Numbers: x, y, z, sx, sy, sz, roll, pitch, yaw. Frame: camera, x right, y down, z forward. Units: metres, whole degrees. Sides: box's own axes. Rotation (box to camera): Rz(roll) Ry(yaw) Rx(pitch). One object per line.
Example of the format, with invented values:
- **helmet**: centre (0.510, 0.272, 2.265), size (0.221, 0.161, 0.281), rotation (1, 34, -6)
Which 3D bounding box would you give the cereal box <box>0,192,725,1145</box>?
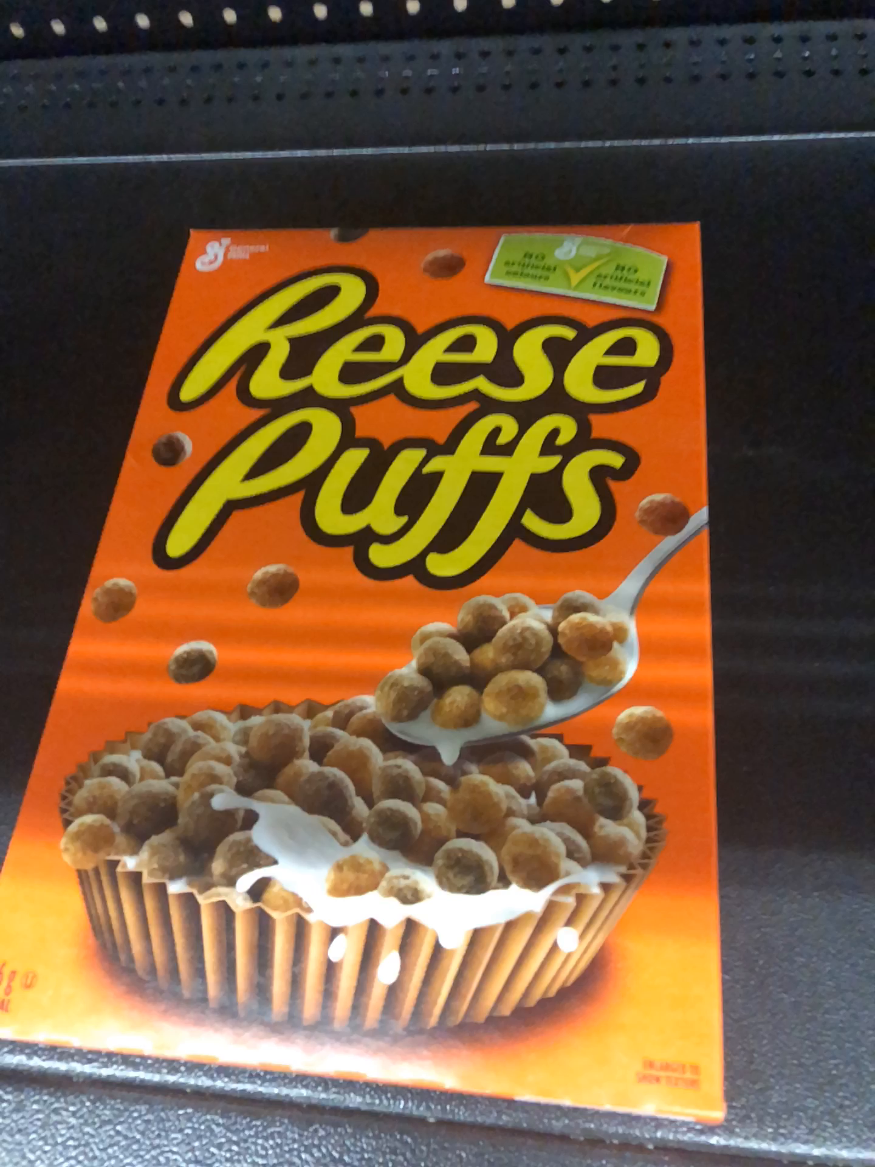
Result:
- **cereal box**: centre (-0.018, 0.000, 0.311), size (0.200, 0.050, 0.291), rotation (2, 63, 9)
